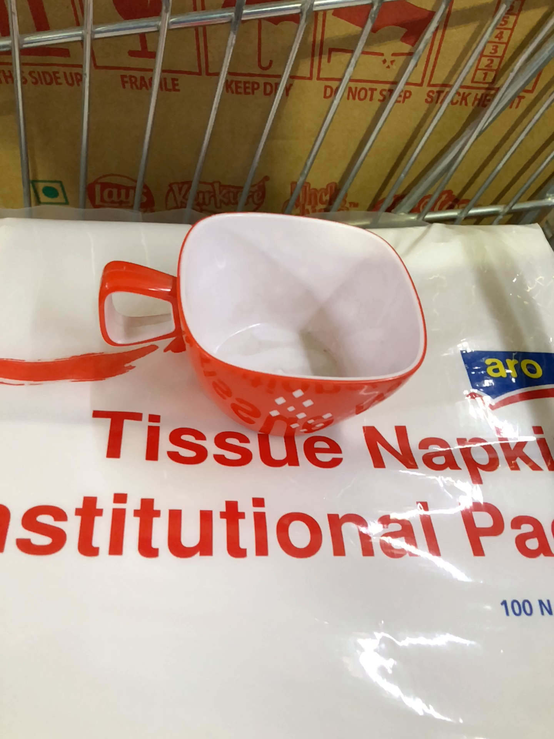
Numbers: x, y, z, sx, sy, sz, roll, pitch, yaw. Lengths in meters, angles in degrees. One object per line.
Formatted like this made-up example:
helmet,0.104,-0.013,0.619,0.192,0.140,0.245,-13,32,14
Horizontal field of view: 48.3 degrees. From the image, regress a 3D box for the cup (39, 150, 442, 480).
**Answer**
cup,-0.016,-0.016,0.228,0.120,0.060,0.090,6,57,-15
